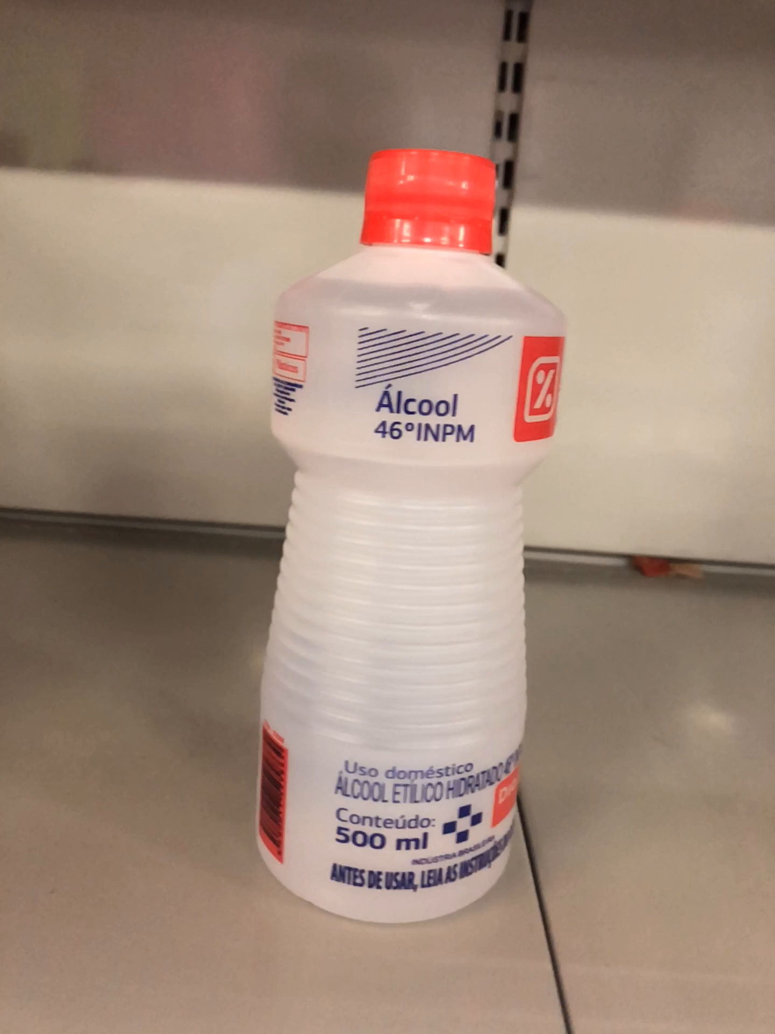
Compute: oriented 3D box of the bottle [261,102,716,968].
[{"bbox_3d":[0.012,0.004,0.219,0.080,0.179,0.080,3,14,-1],"label":"bottle"}]
